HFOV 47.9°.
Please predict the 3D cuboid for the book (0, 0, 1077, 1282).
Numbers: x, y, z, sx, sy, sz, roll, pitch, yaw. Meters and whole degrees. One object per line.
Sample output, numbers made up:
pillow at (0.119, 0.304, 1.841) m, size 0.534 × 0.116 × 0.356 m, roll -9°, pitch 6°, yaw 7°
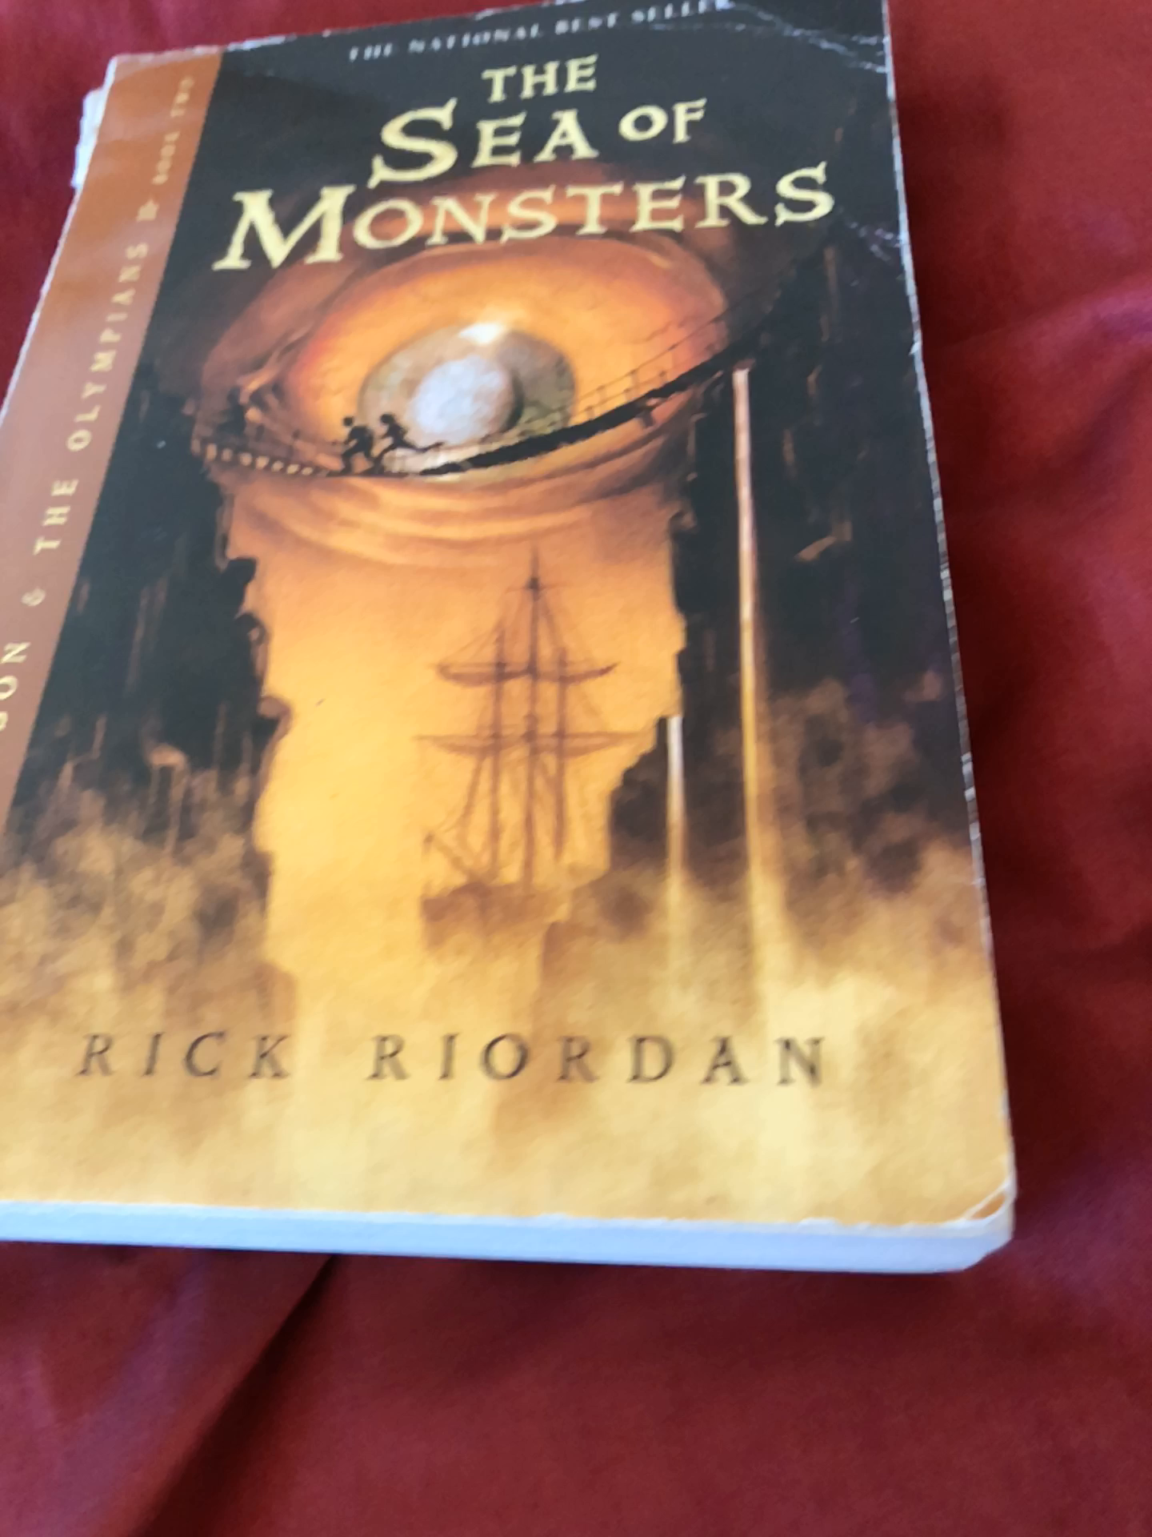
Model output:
book at (-0.020, -0.039, 0.180) m, size 0.144 × 0.030 × 0.197 m, roll -1°, pitch 63°, yaw 10°
